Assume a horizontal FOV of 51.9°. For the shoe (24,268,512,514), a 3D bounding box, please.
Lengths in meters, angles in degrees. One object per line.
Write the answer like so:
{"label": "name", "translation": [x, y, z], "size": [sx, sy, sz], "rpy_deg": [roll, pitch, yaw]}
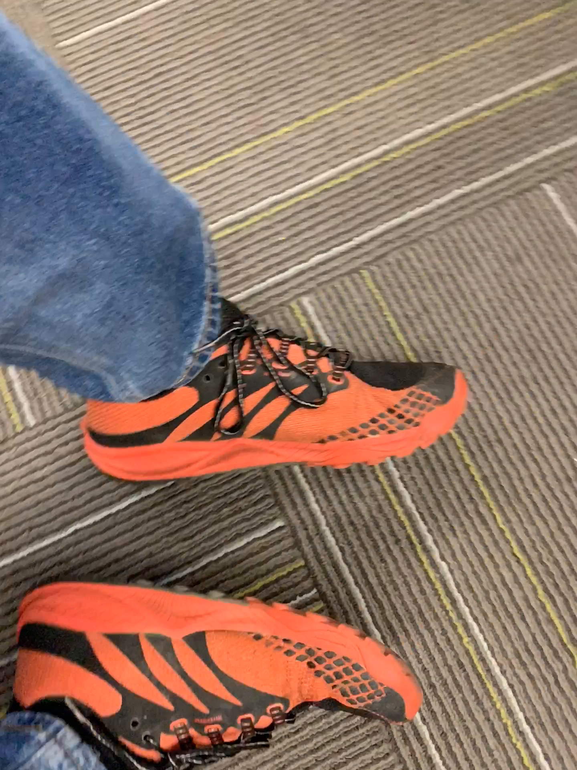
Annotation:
{"label": "shoe", "translation": [-0.012, -0.001, 0.454], "size": [0.307, 0.128, 0.108], "rpy_deg": [-6, 120, 0]}

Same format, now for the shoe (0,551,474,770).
{"label": "shoe", "translation": [-0.051, 0.200, 0.423], "size": [0.317, 0.138, 0.108], "rpy_deg": [3, 61, 2]}
